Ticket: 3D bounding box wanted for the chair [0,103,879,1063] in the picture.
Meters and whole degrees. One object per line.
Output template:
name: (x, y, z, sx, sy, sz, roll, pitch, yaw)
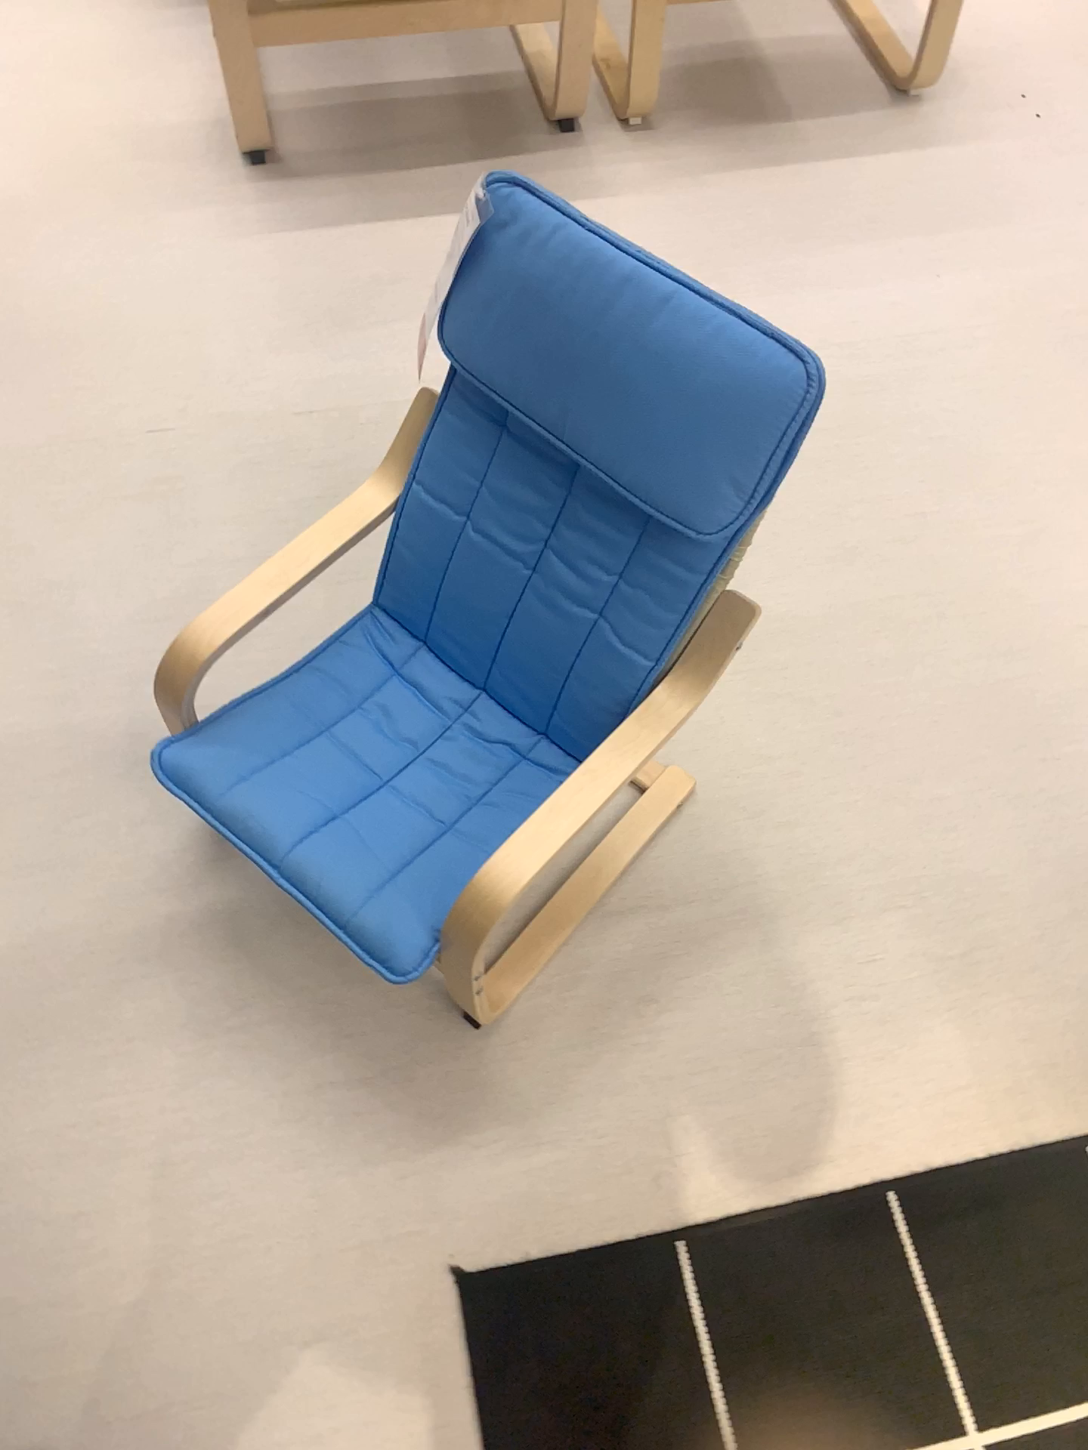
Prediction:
chair: (-0.109, -0.101, 1.109, 0.510, 0.639, 0.500, 37, 65, 18)
